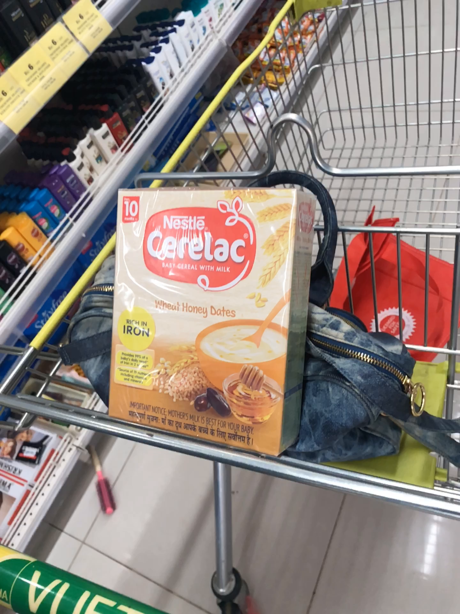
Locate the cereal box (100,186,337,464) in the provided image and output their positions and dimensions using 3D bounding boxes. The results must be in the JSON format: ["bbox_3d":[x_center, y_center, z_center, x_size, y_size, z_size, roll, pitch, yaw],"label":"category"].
[{"bbox_3d":[-0.013,0.006,0.411,0.170,0.060,0.190,6,94,26],"label":"cereal box"}]
